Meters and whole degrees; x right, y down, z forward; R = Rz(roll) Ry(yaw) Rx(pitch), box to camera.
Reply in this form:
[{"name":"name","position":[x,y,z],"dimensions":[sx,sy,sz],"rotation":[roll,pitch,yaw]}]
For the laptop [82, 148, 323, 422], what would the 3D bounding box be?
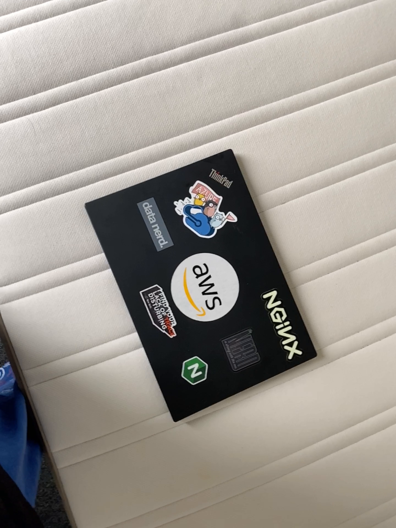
[{"name":"laptop","position":[0.010,0.022,0.563],"dimensions":[0.224,0.014,0.322],"rotation":[-22,89,-10]}]
